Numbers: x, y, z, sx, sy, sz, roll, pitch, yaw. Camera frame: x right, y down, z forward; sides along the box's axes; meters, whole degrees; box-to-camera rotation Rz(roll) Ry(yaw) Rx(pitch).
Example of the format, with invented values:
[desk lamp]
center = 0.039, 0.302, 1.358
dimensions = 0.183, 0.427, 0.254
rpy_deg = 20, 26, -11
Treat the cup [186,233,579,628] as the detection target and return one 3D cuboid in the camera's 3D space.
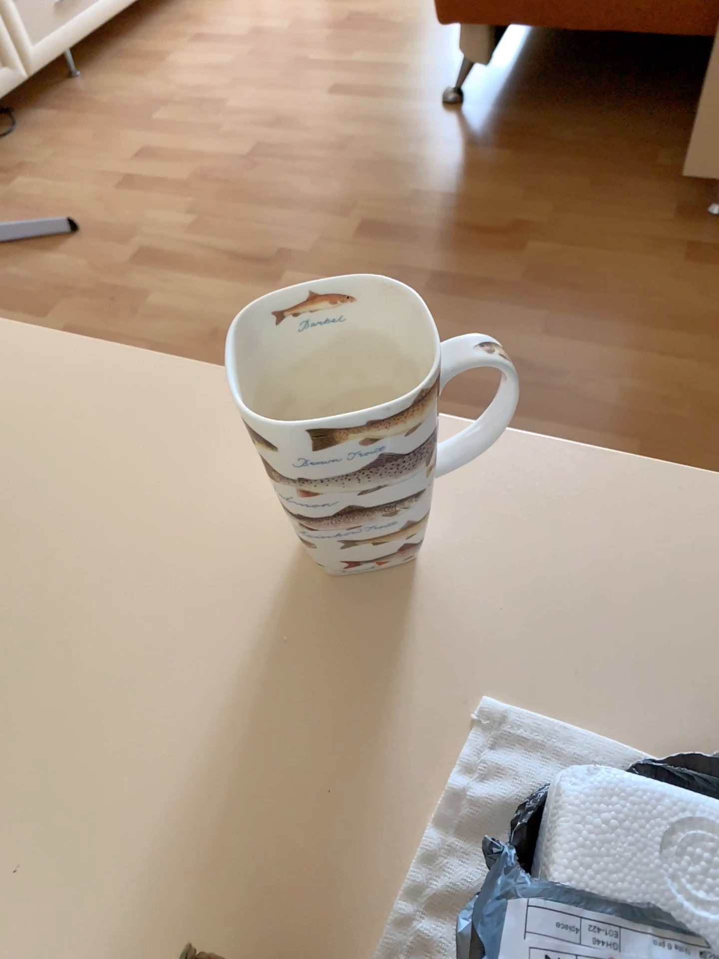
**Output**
[cup]
center = 0.009, -0.017, 0.343
dimensions = 0.140, 0.129, 0.101
rpy_deg = -9, 51, 1
